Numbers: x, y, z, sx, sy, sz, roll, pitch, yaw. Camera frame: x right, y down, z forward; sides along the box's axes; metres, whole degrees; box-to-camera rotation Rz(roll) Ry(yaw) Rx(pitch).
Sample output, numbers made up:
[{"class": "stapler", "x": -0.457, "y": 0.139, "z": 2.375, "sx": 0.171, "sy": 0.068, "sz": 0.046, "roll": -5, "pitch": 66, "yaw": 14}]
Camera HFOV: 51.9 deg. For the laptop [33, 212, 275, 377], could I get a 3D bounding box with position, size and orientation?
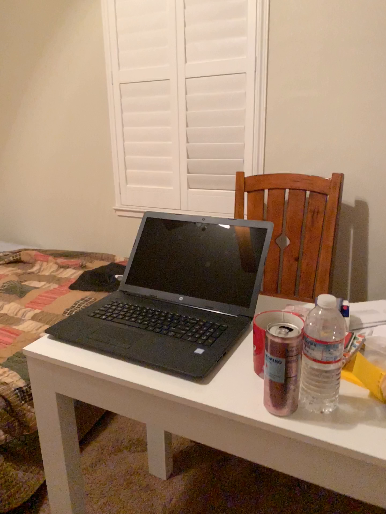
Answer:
[{"class": "laptop", "x": -0.065, "y": 0.040, "z": 0.953, "sx": 0.400, "sy": 0.197, "sz": 0.417, "roll": 8, "pitch": 19, "yaw": 28}]
